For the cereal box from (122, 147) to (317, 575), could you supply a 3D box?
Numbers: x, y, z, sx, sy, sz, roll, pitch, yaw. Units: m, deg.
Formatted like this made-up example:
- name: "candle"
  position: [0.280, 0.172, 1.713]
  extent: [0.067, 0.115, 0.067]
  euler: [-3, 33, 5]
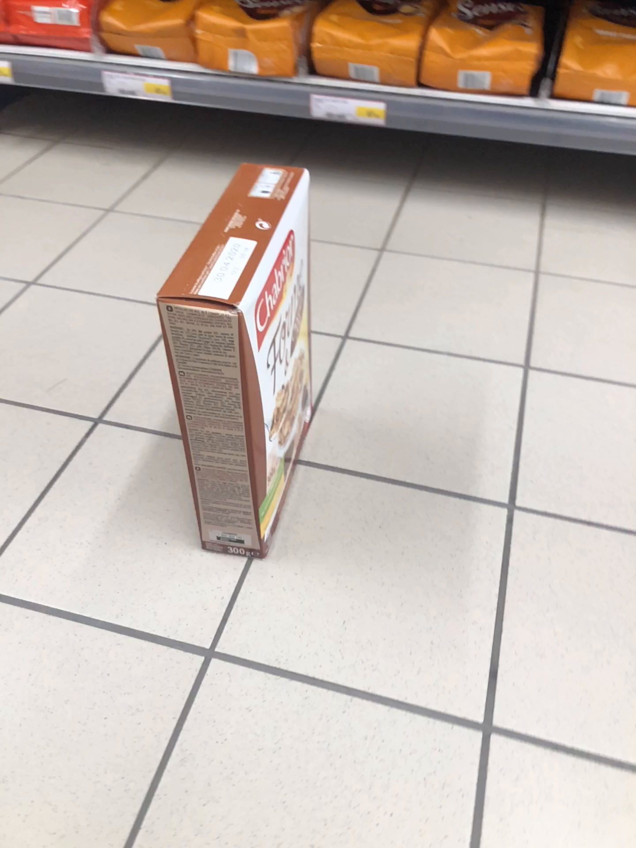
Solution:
- name: "cereal box"
  position: [-0.055, -0.048, 0.547]
  extent: [0.070, 0.248, 0.211]
  euler: [7, 43, 8]
